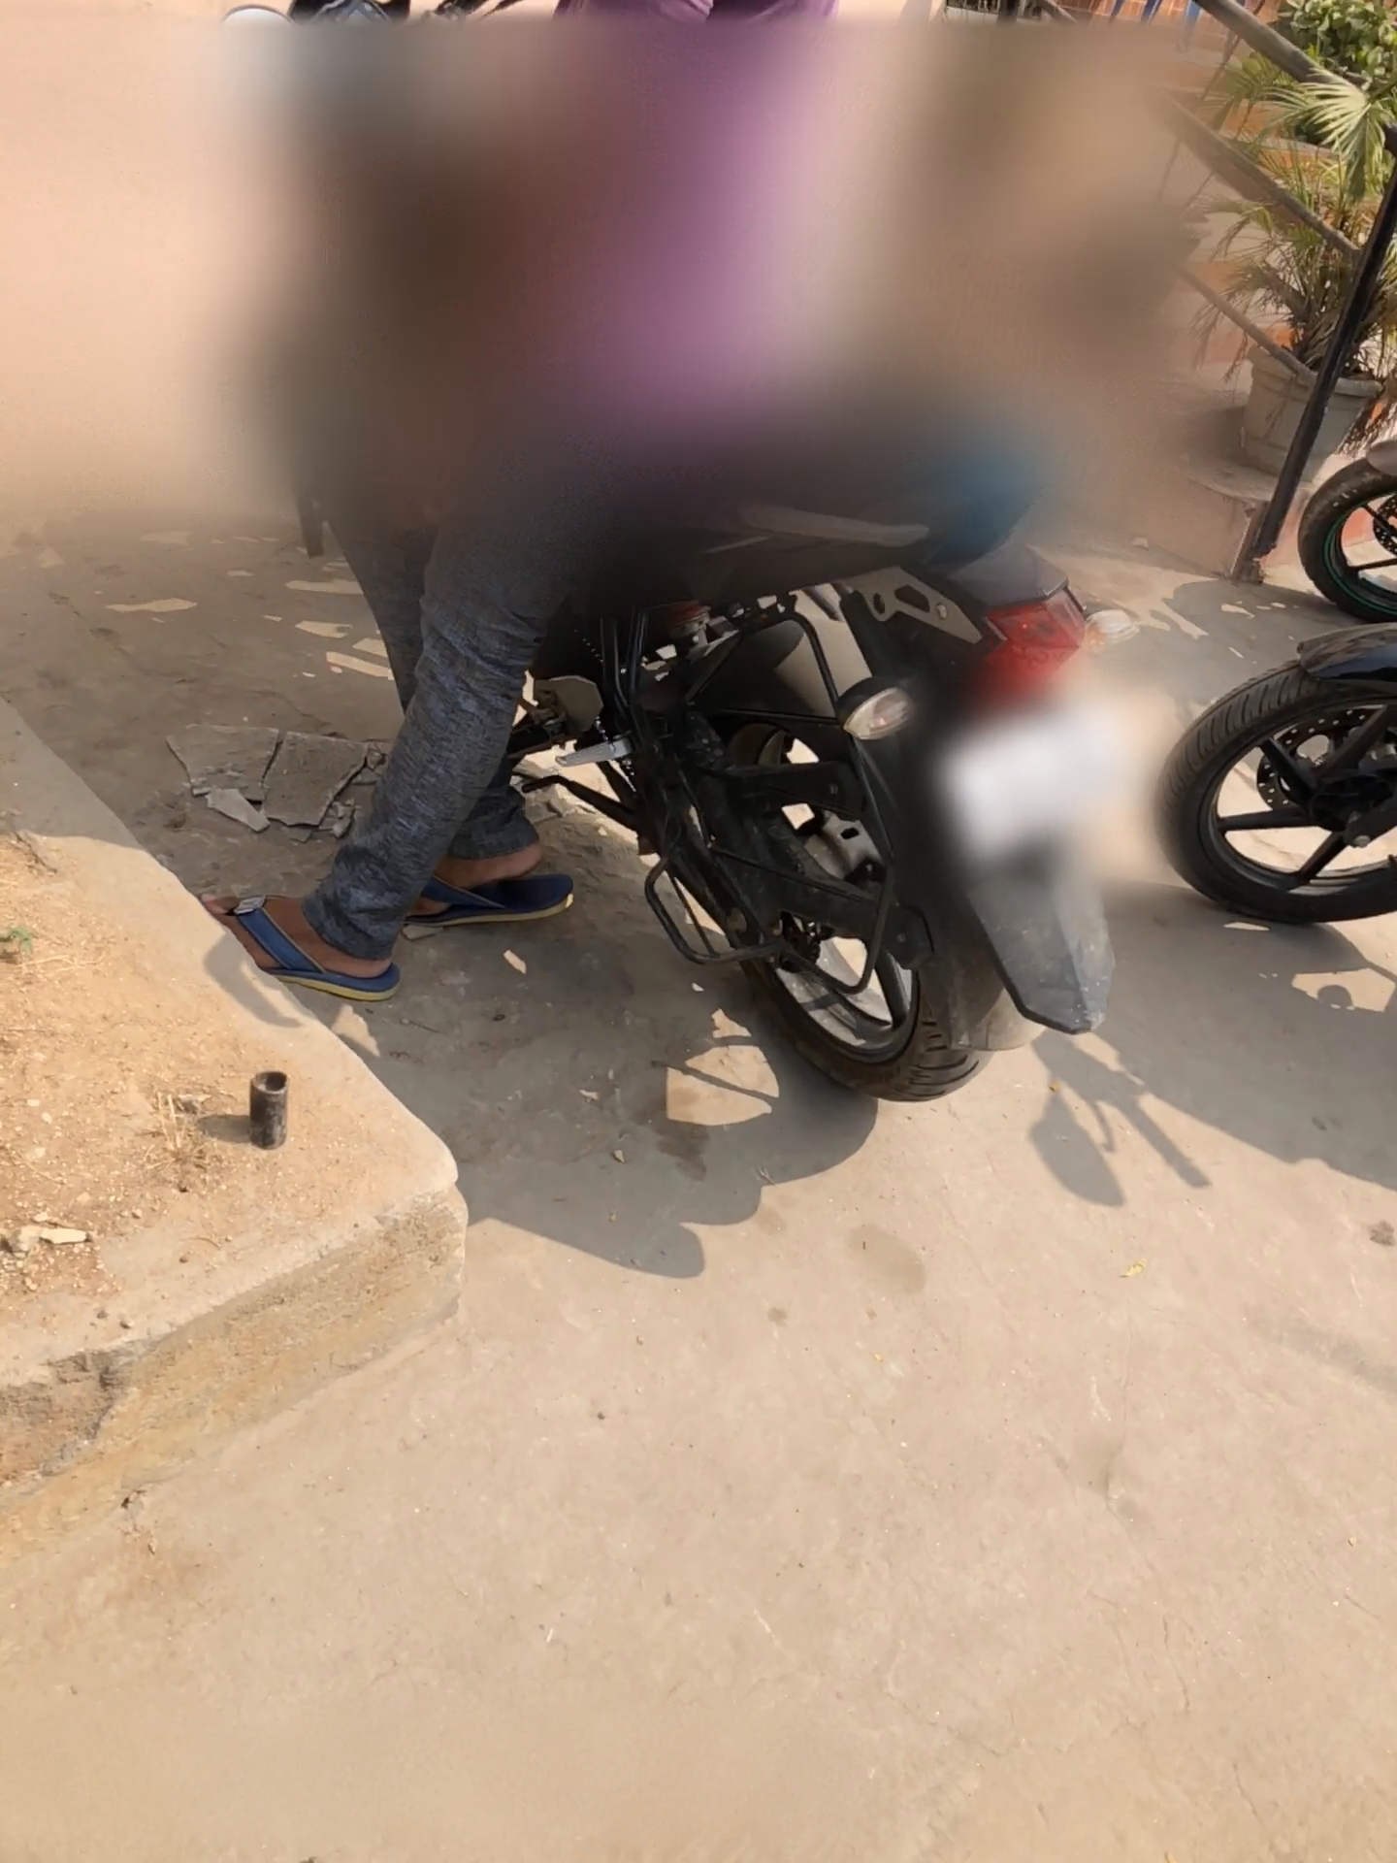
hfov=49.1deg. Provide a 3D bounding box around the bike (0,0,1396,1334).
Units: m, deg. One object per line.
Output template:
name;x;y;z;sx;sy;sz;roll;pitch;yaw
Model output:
bike;-0.322;-0.747;1.890;0.813;1.221;1.828;-18;48;-37
